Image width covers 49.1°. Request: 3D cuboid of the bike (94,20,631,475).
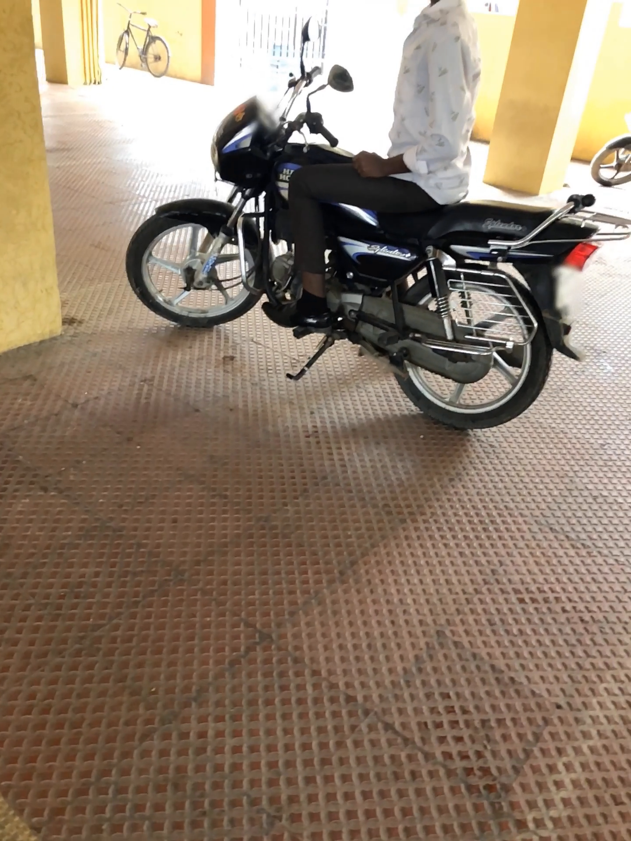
[{"bbox_3d":[0.124,-0.722,2.604,1.706,1.107,0.688,20,33,18],"label":"bike"}]
